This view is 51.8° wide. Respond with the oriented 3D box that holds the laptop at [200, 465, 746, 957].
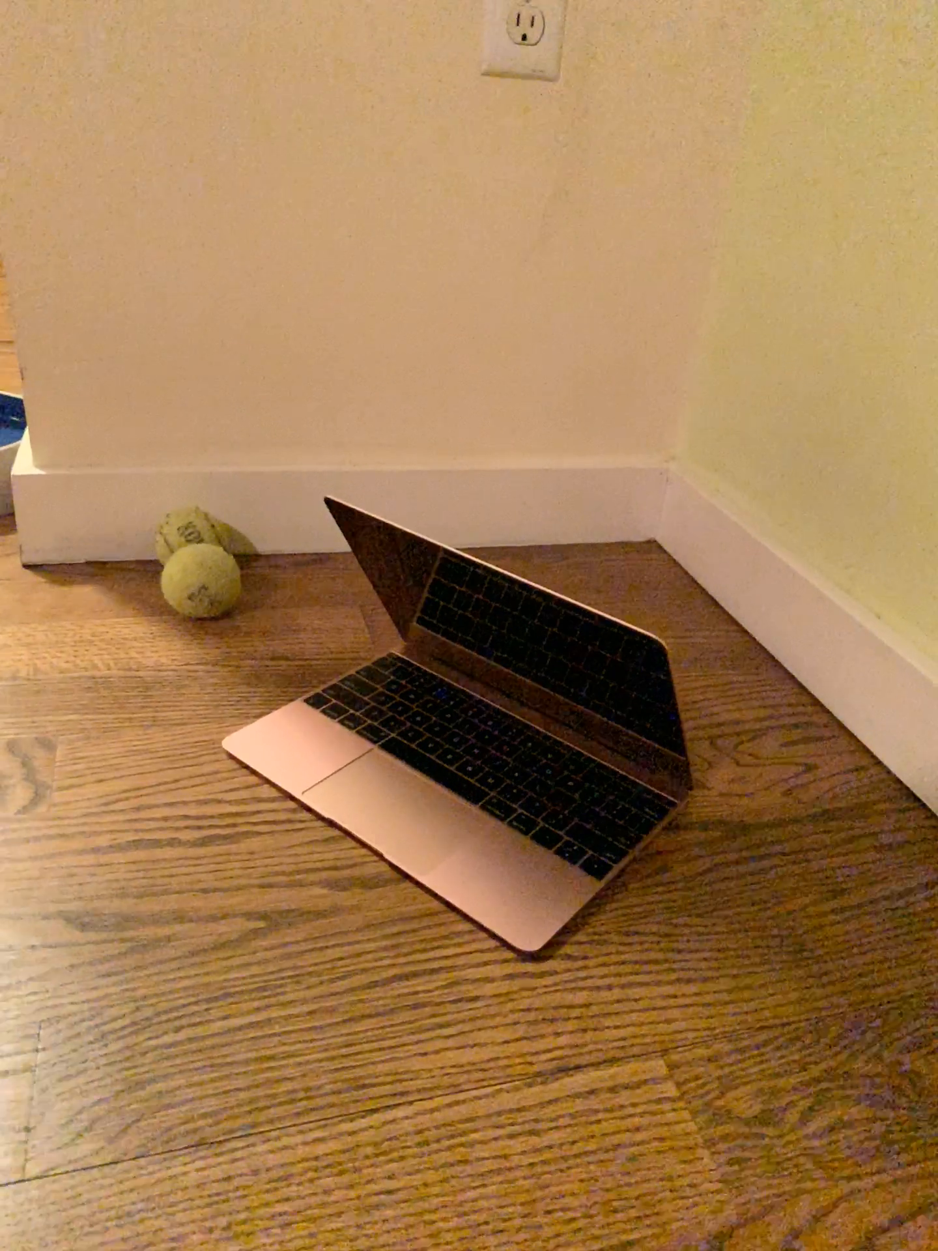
[{"bbox_3d":[-0.004,0.032,0.664,0.288,0.168,0.207,25,35,31],"label":"laptop"}]
